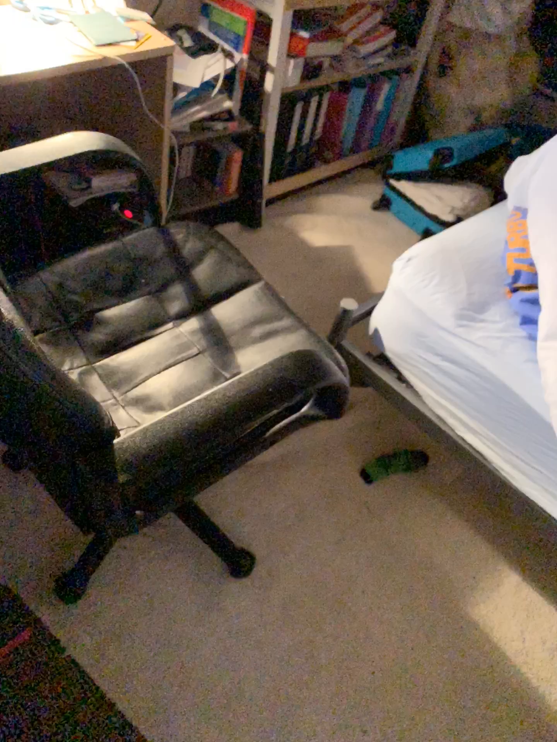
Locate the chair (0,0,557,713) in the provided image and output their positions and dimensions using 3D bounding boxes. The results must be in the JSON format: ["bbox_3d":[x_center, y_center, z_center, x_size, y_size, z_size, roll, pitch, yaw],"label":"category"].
[{"bbox_3d":[-0.241,-0.063,0.943,0.653,1.160,0.712,-32,65,-29],"label":"chair"}]
